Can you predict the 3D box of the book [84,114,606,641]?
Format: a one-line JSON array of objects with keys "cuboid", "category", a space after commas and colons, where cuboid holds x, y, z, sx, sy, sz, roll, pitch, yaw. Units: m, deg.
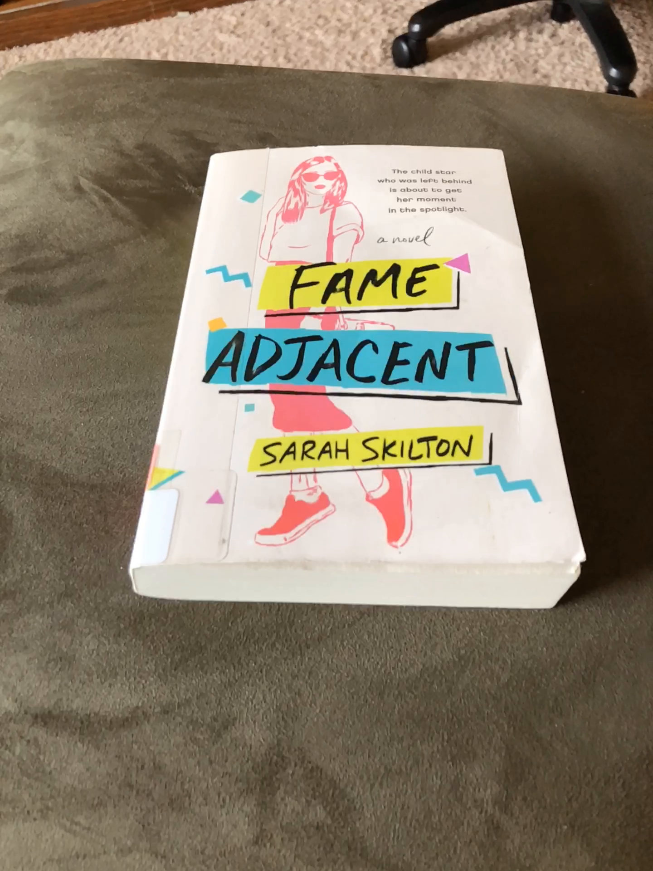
[{"cuboid": [0.009, -0.039, 0.274, 0.140, 0.040, 0.220, 0, 55, 4], "category": "book"}]
